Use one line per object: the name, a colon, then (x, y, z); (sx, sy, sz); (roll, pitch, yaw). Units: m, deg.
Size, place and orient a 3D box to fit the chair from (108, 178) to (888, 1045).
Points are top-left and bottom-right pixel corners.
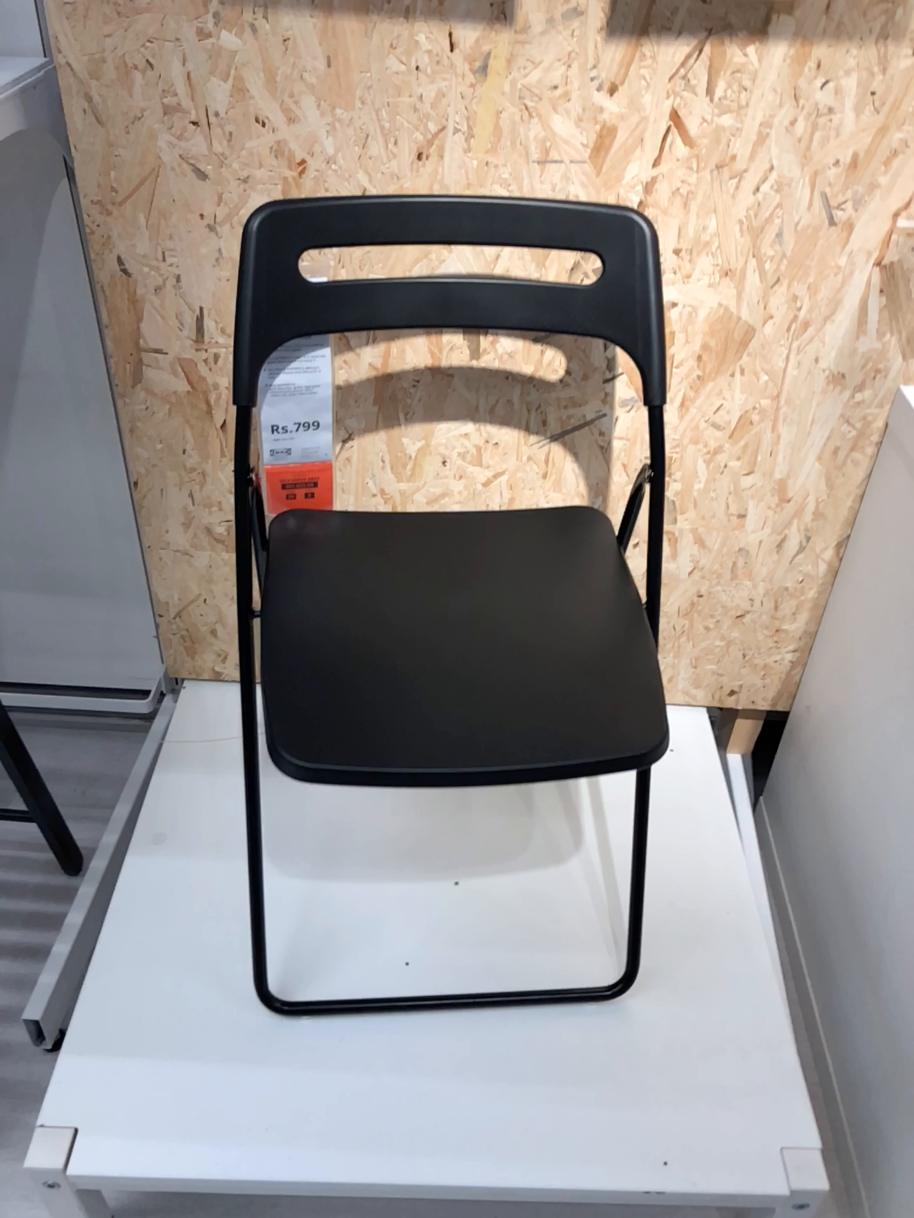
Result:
chair: (0.004, 0.011, 1.059); (0.490, 0.735, 0.524); (0, 38, -4)
